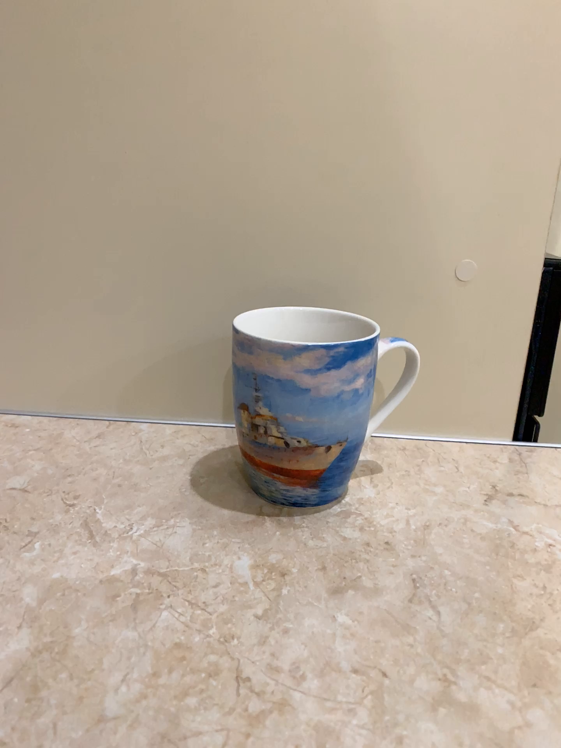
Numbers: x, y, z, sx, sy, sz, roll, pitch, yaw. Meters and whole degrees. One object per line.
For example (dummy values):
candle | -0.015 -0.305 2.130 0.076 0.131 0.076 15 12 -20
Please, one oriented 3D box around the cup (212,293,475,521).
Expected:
cup | 0.032 0.009 0.327 0.114 0.087 0.083 -9 22 -31
